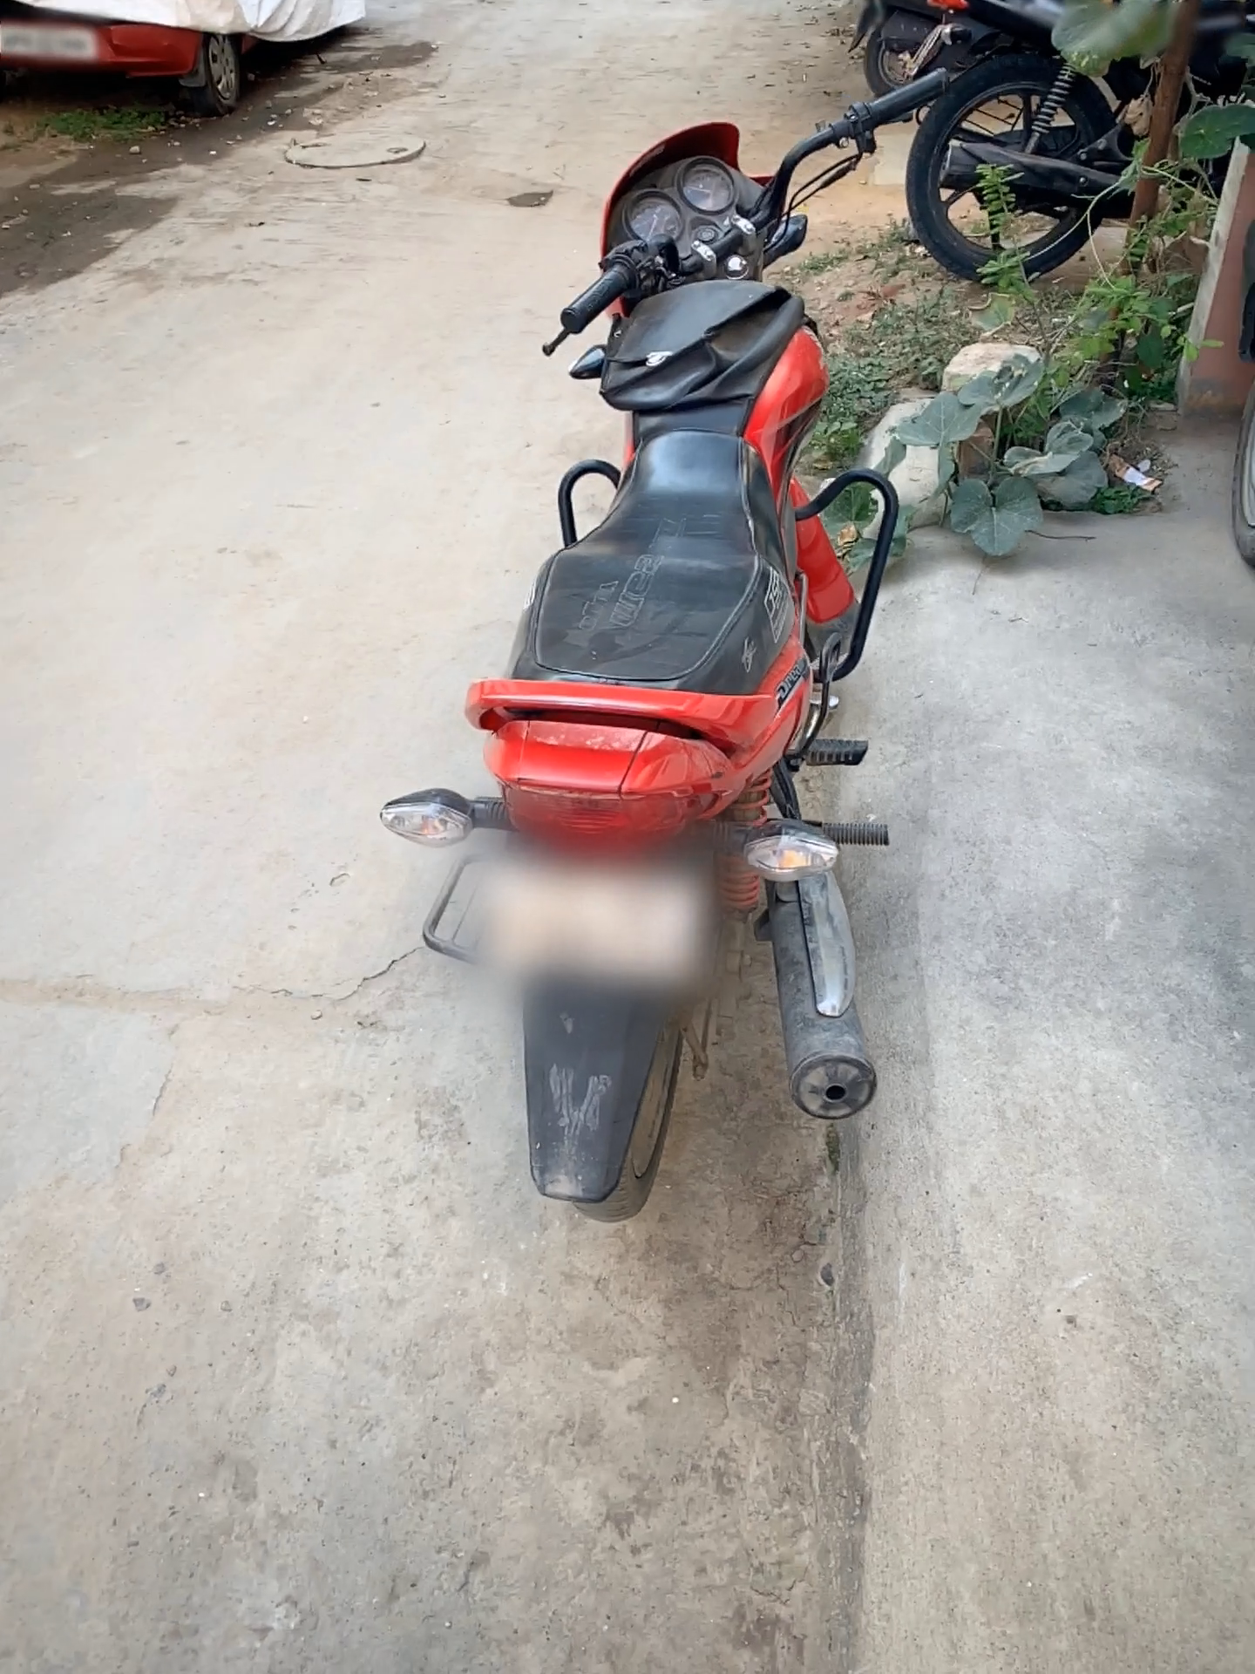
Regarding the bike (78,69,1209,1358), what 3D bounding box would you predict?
[{"bbox_3d":[0.016,-0.340,1.874,0.758,1.092,1.716,-1,41,2],"label":"bike"}]
